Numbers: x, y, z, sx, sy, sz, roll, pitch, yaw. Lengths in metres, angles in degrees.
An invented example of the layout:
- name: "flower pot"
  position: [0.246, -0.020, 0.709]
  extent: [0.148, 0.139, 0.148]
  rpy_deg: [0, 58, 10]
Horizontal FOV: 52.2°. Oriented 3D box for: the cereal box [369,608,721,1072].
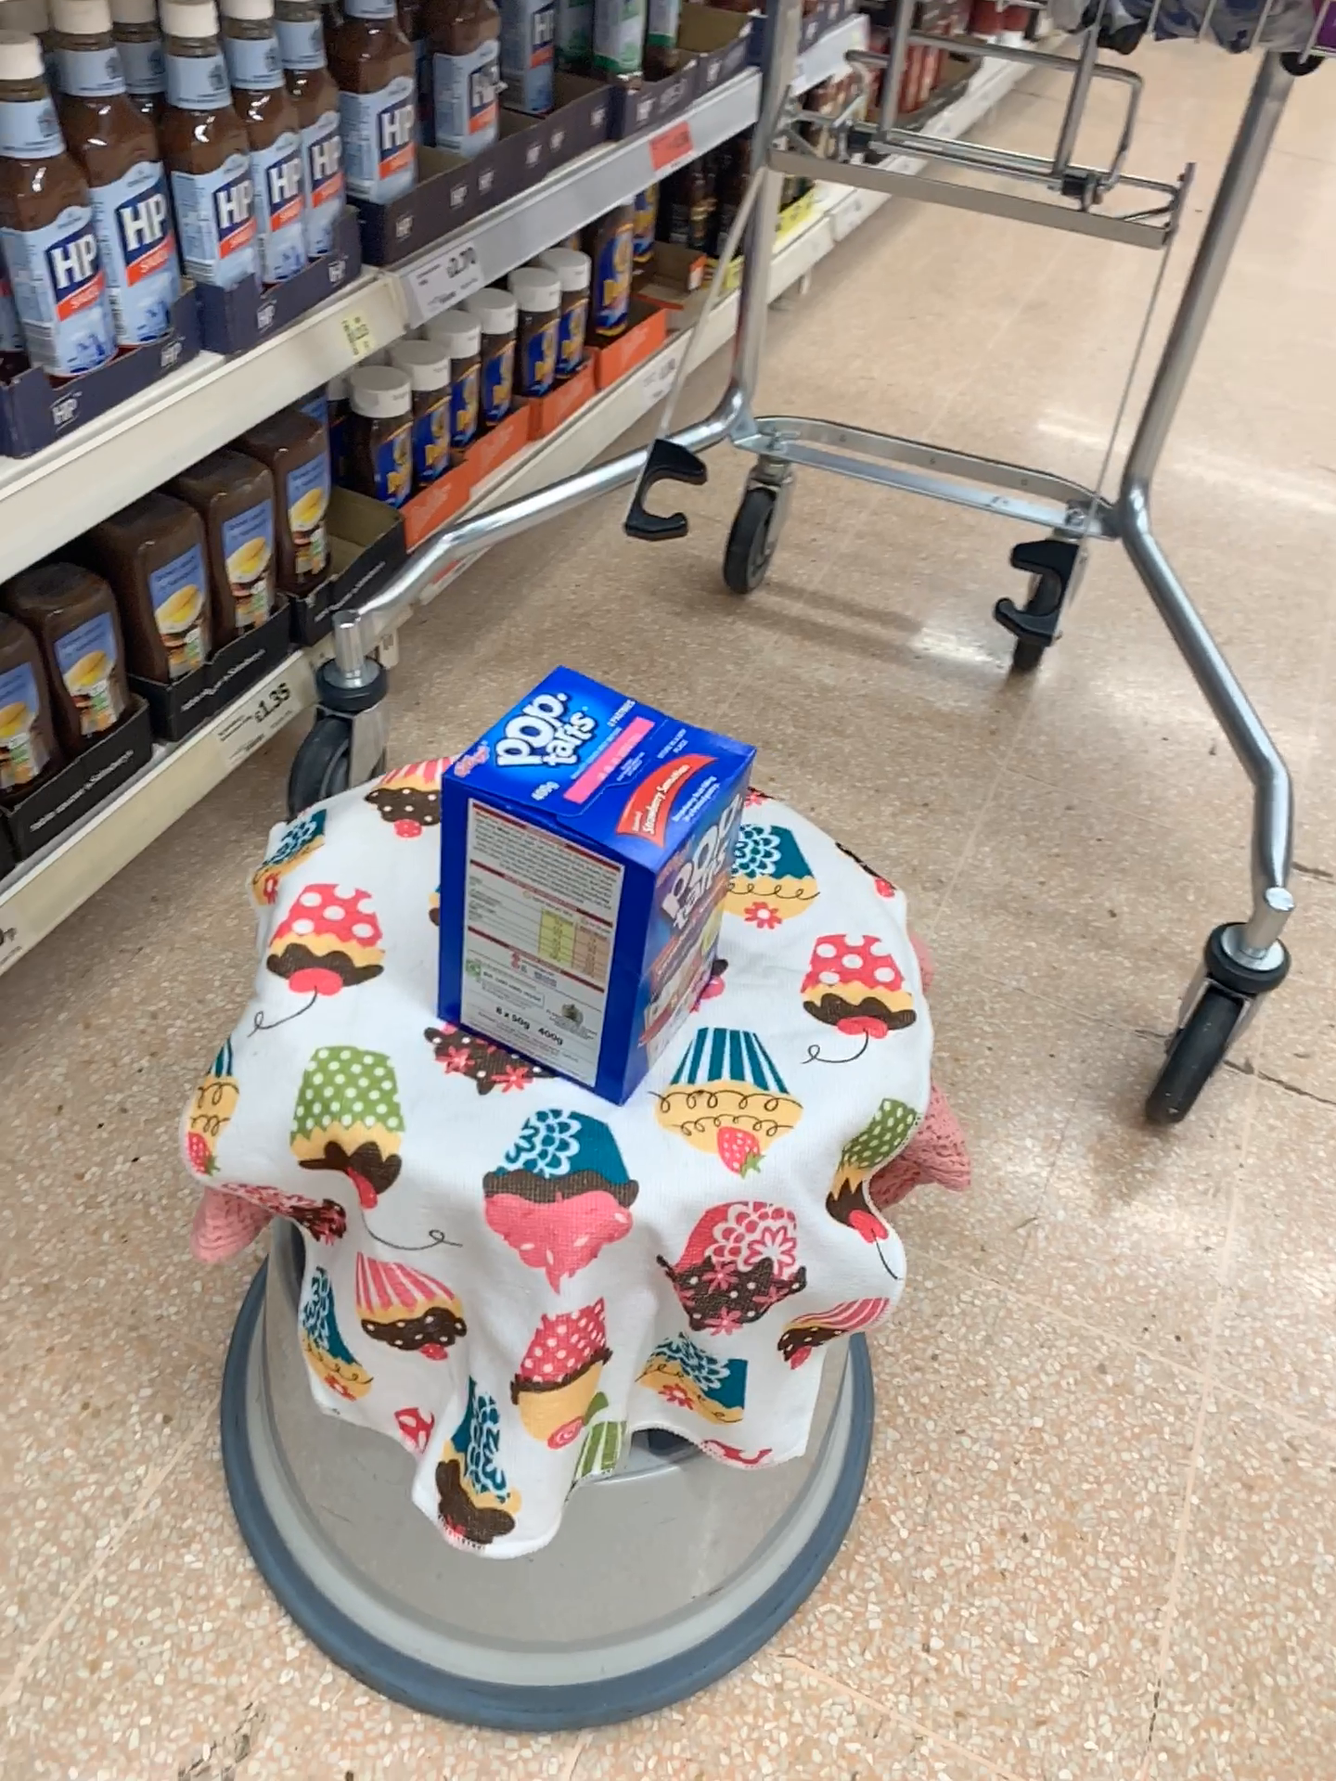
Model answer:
- name: "cereal box"
  position: [-0.051, -0.020, 0.564]
  extent: [0.100, 0.139, 0.091]
  rpy_deg: [24, 46, 16]
